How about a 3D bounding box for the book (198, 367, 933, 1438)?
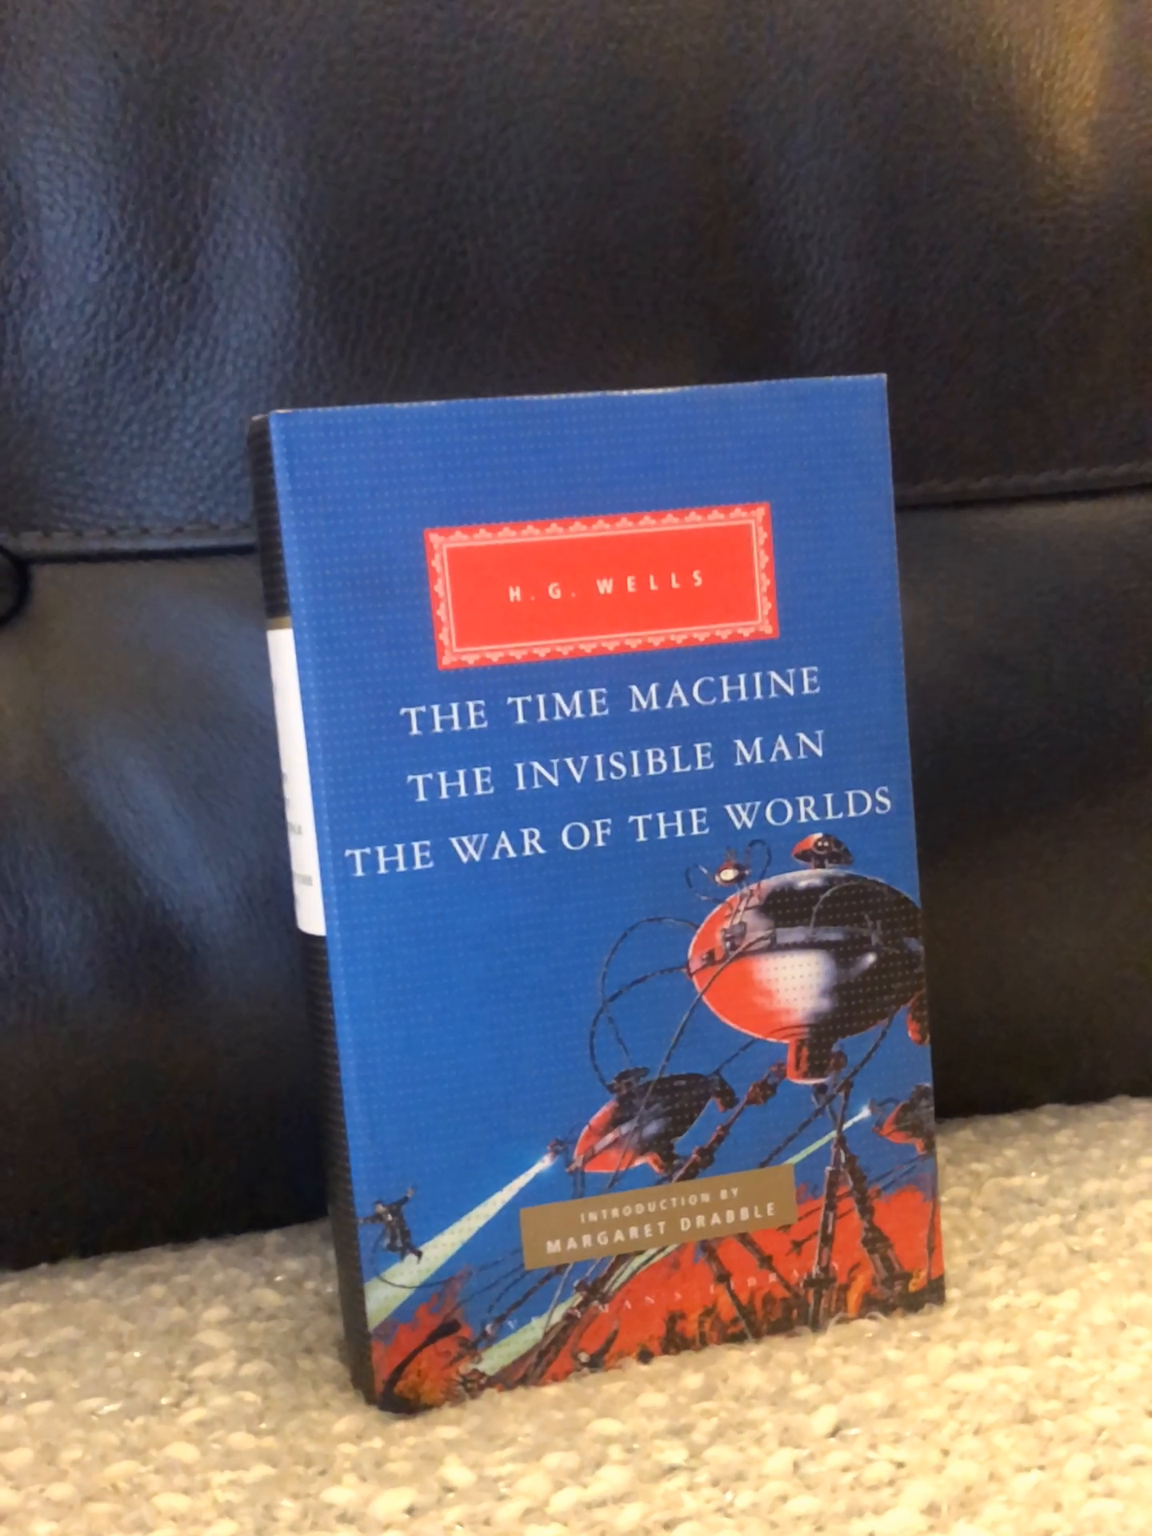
[{"bbox_3d":[0.002,0.027,0.307,0.148,0.226,0.034,-7,6,-12],"label":"book"}]
